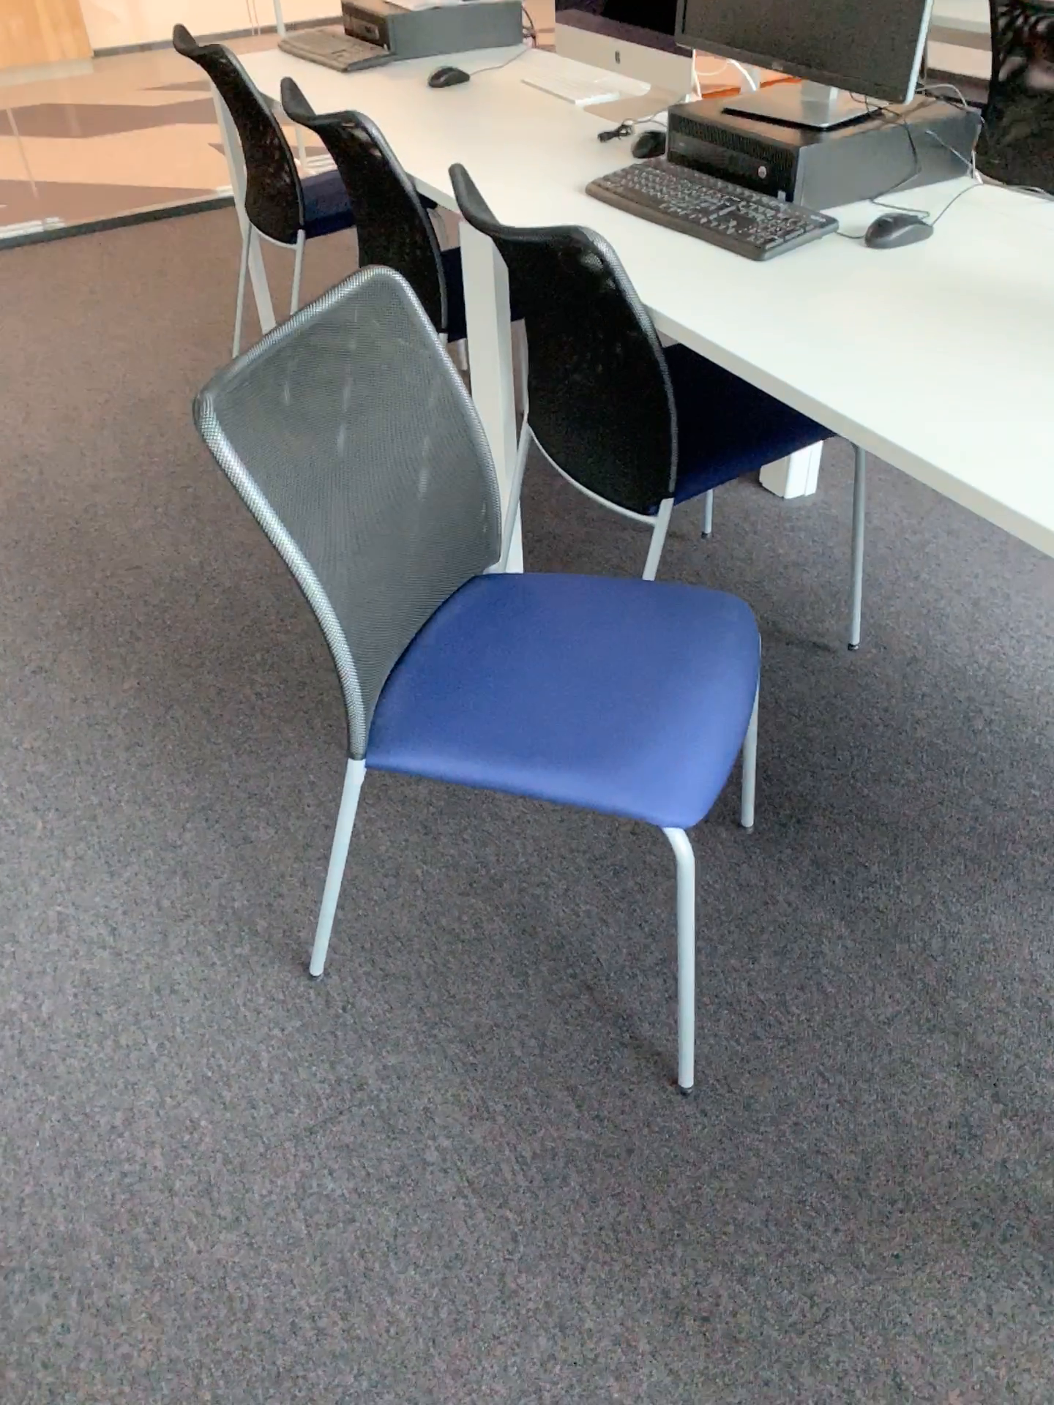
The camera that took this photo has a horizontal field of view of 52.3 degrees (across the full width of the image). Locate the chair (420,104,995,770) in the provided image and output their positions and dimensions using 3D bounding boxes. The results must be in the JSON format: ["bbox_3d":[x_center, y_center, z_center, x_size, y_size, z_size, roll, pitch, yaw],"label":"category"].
[{"bbox_3d":[0.270,-0.481,1.905,0.651,0.865,0.572,-21,43,-20],"label":"chair"}]

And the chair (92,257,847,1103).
[{"bbox_3d":[-0.005,-0.041,1.402,0.630,0.825,0.573,12,42,17],"label":"chair"}]
